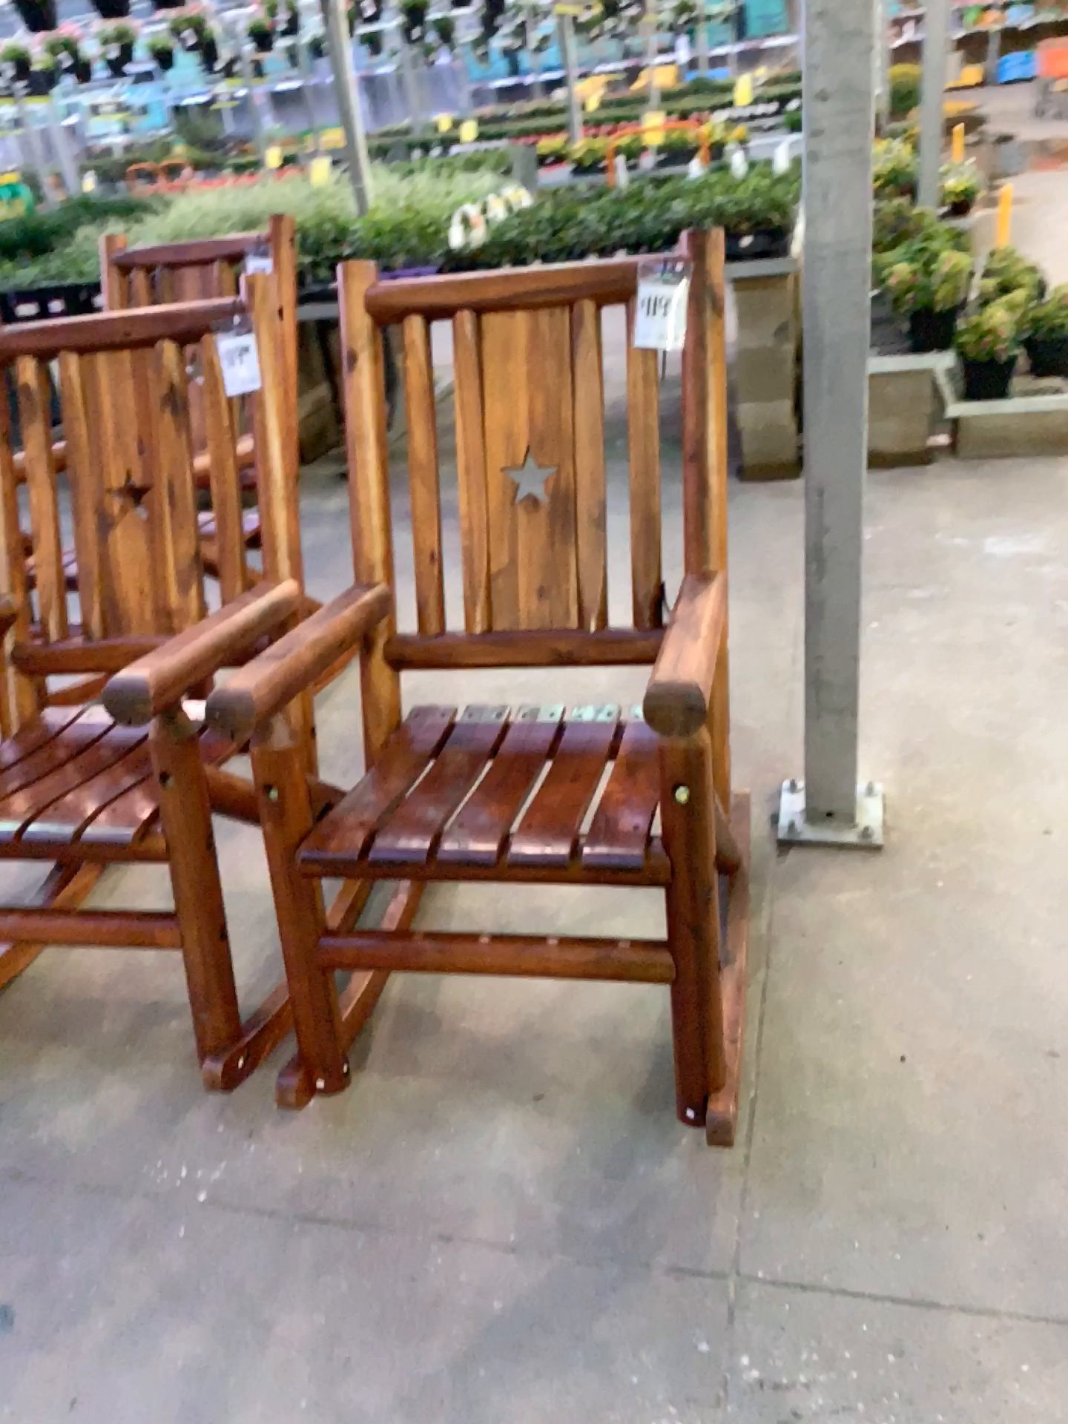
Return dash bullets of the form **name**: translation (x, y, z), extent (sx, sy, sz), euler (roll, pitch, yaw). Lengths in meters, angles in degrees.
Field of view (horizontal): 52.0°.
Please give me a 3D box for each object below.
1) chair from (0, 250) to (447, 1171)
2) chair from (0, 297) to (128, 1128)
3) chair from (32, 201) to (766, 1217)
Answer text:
- **chair**: translation (-0.702, -0.063, 1.888), extent (0.673, 1.157, 1.023), euler (0, 31, 14)
- **chair**: translation (-1.510, -0.055, 2.086), extent (0.673, 1.157, 1.023), euler (0, 31, 14)
- **chair**: translation (0.001, -0.071, 1.716), extent (0.673, 1.157, 1.023), euler (0, 31, 13)
